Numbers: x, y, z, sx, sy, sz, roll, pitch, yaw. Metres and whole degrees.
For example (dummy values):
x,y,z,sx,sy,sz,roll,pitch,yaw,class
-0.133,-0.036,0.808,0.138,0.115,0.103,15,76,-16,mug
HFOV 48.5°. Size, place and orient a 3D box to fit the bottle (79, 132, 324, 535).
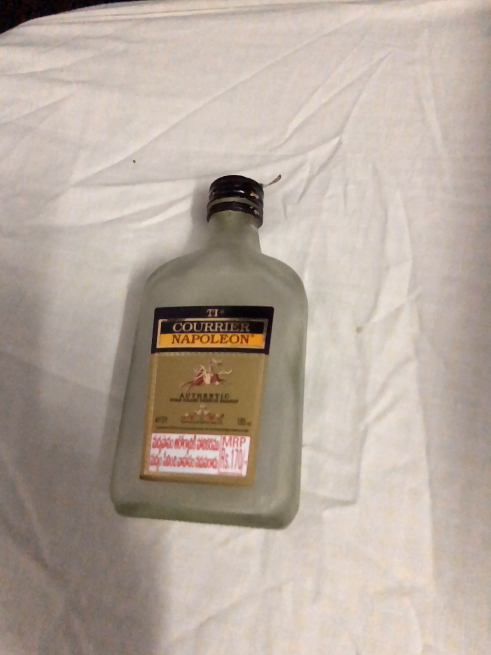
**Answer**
x,y,z,sx,sy,sz,roll,pitch,yaw,class
-0.010,-0.002,0.230,0.080,0.040,0.160,1,70,10,bottle
